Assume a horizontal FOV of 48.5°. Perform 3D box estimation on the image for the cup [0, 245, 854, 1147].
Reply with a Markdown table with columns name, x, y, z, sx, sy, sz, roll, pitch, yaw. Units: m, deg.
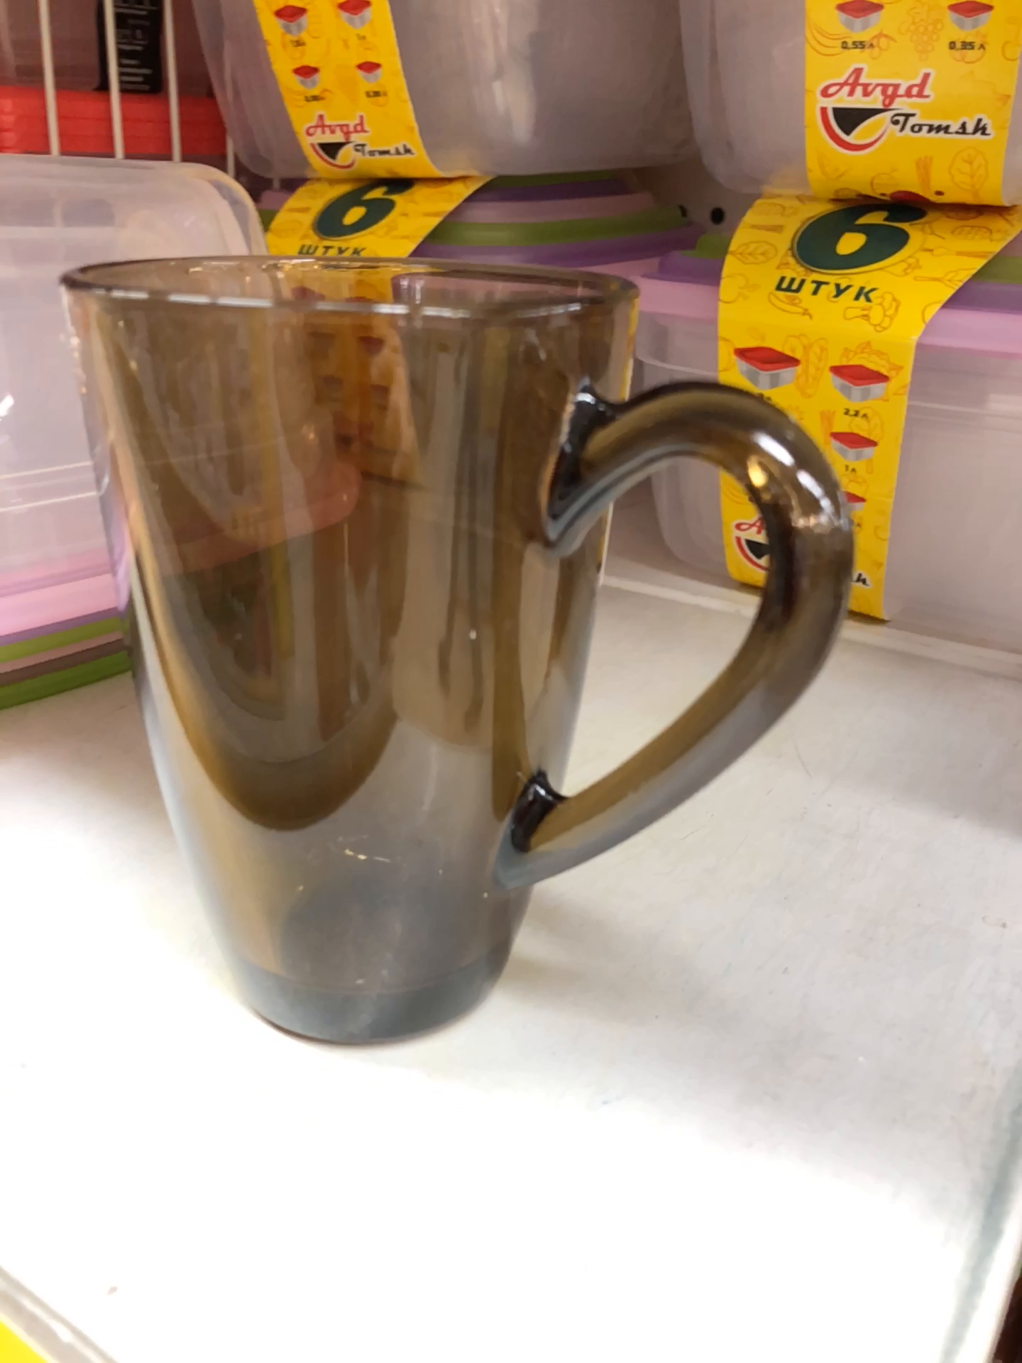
| name | x | y | z | sx | sy | sz | roll | pitch | yaw |
| --- | --- | --- | --- | --- | --- | --- | --- | --- | --- |
| cup | -0.017 | -0.010 | 0.169 | 0.112 | 0.096 | 0.072 | 10 | 26 | 22 |
